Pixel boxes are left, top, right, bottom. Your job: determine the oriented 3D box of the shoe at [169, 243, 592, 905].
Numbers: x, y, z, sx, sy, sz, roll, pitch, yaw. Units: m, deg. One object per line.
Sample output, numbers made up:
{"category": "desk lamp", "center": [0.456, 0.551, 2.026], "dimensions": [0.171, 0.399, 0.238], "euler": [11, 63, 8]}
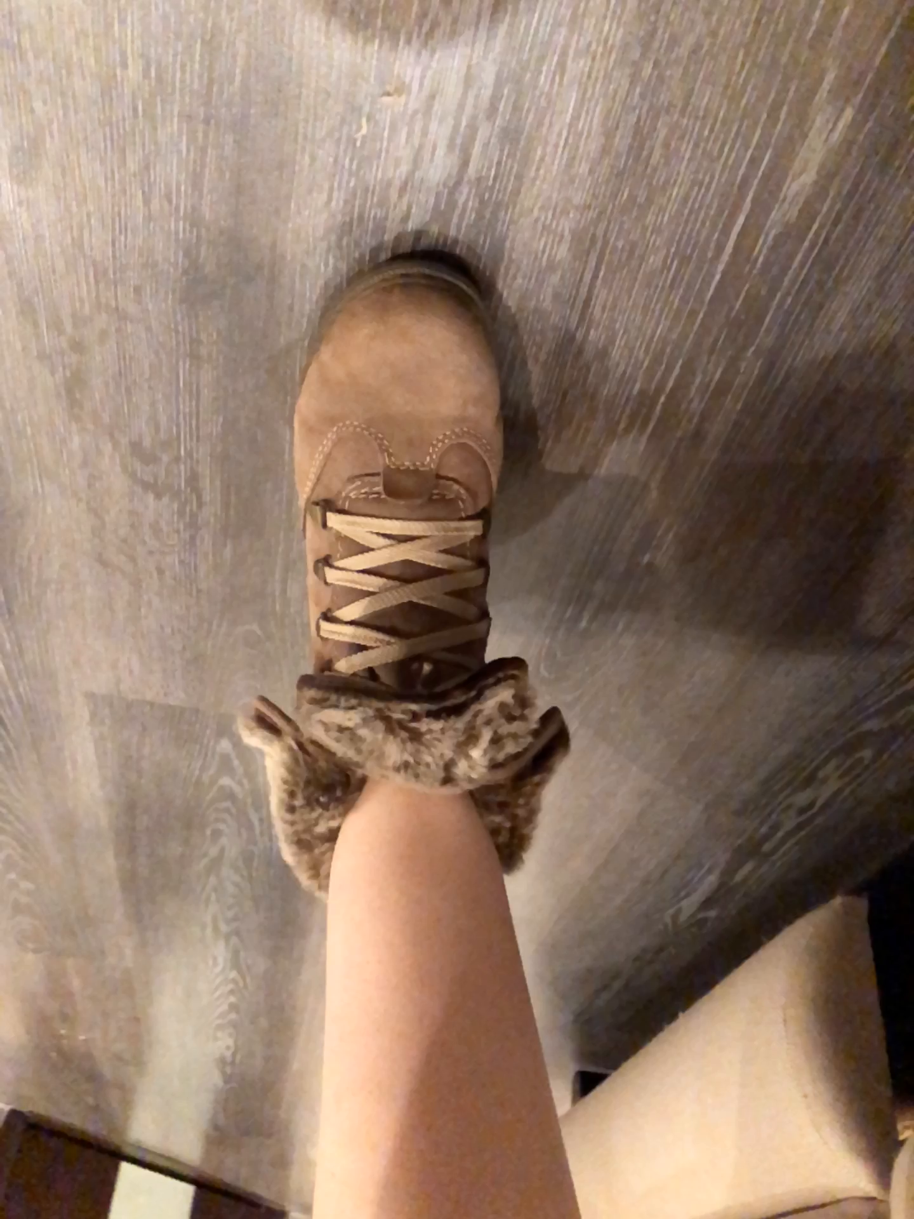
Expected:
{"category": "shoe", "center": [-0.014, 0.001, 0.429], "dimensions": [0.120, 0.149, 0.251], "euler": [2, 142, 4]}
